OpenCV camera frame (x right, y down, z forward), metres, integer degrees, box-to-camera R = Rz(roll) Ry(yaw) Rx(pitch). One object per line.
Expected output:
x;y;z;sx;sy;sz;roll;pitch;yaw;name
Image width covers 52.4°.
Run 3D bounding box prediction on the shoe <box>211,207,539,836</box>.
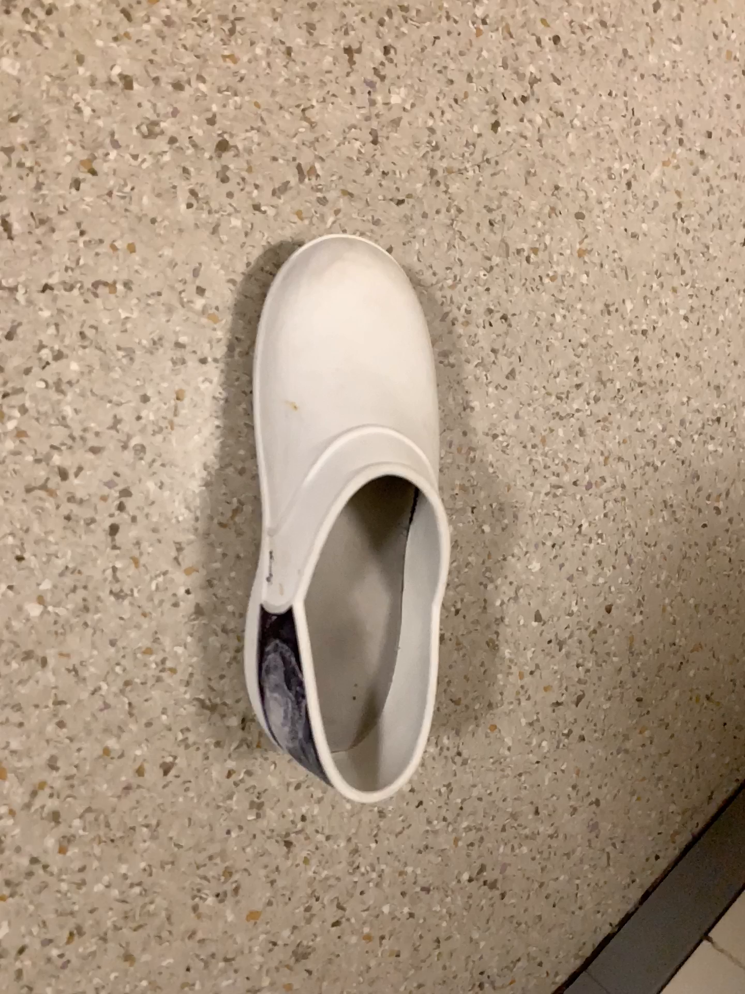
-0.005;0.011;0.374;0.107;0.101;0.254;4;93;-26;shoe
